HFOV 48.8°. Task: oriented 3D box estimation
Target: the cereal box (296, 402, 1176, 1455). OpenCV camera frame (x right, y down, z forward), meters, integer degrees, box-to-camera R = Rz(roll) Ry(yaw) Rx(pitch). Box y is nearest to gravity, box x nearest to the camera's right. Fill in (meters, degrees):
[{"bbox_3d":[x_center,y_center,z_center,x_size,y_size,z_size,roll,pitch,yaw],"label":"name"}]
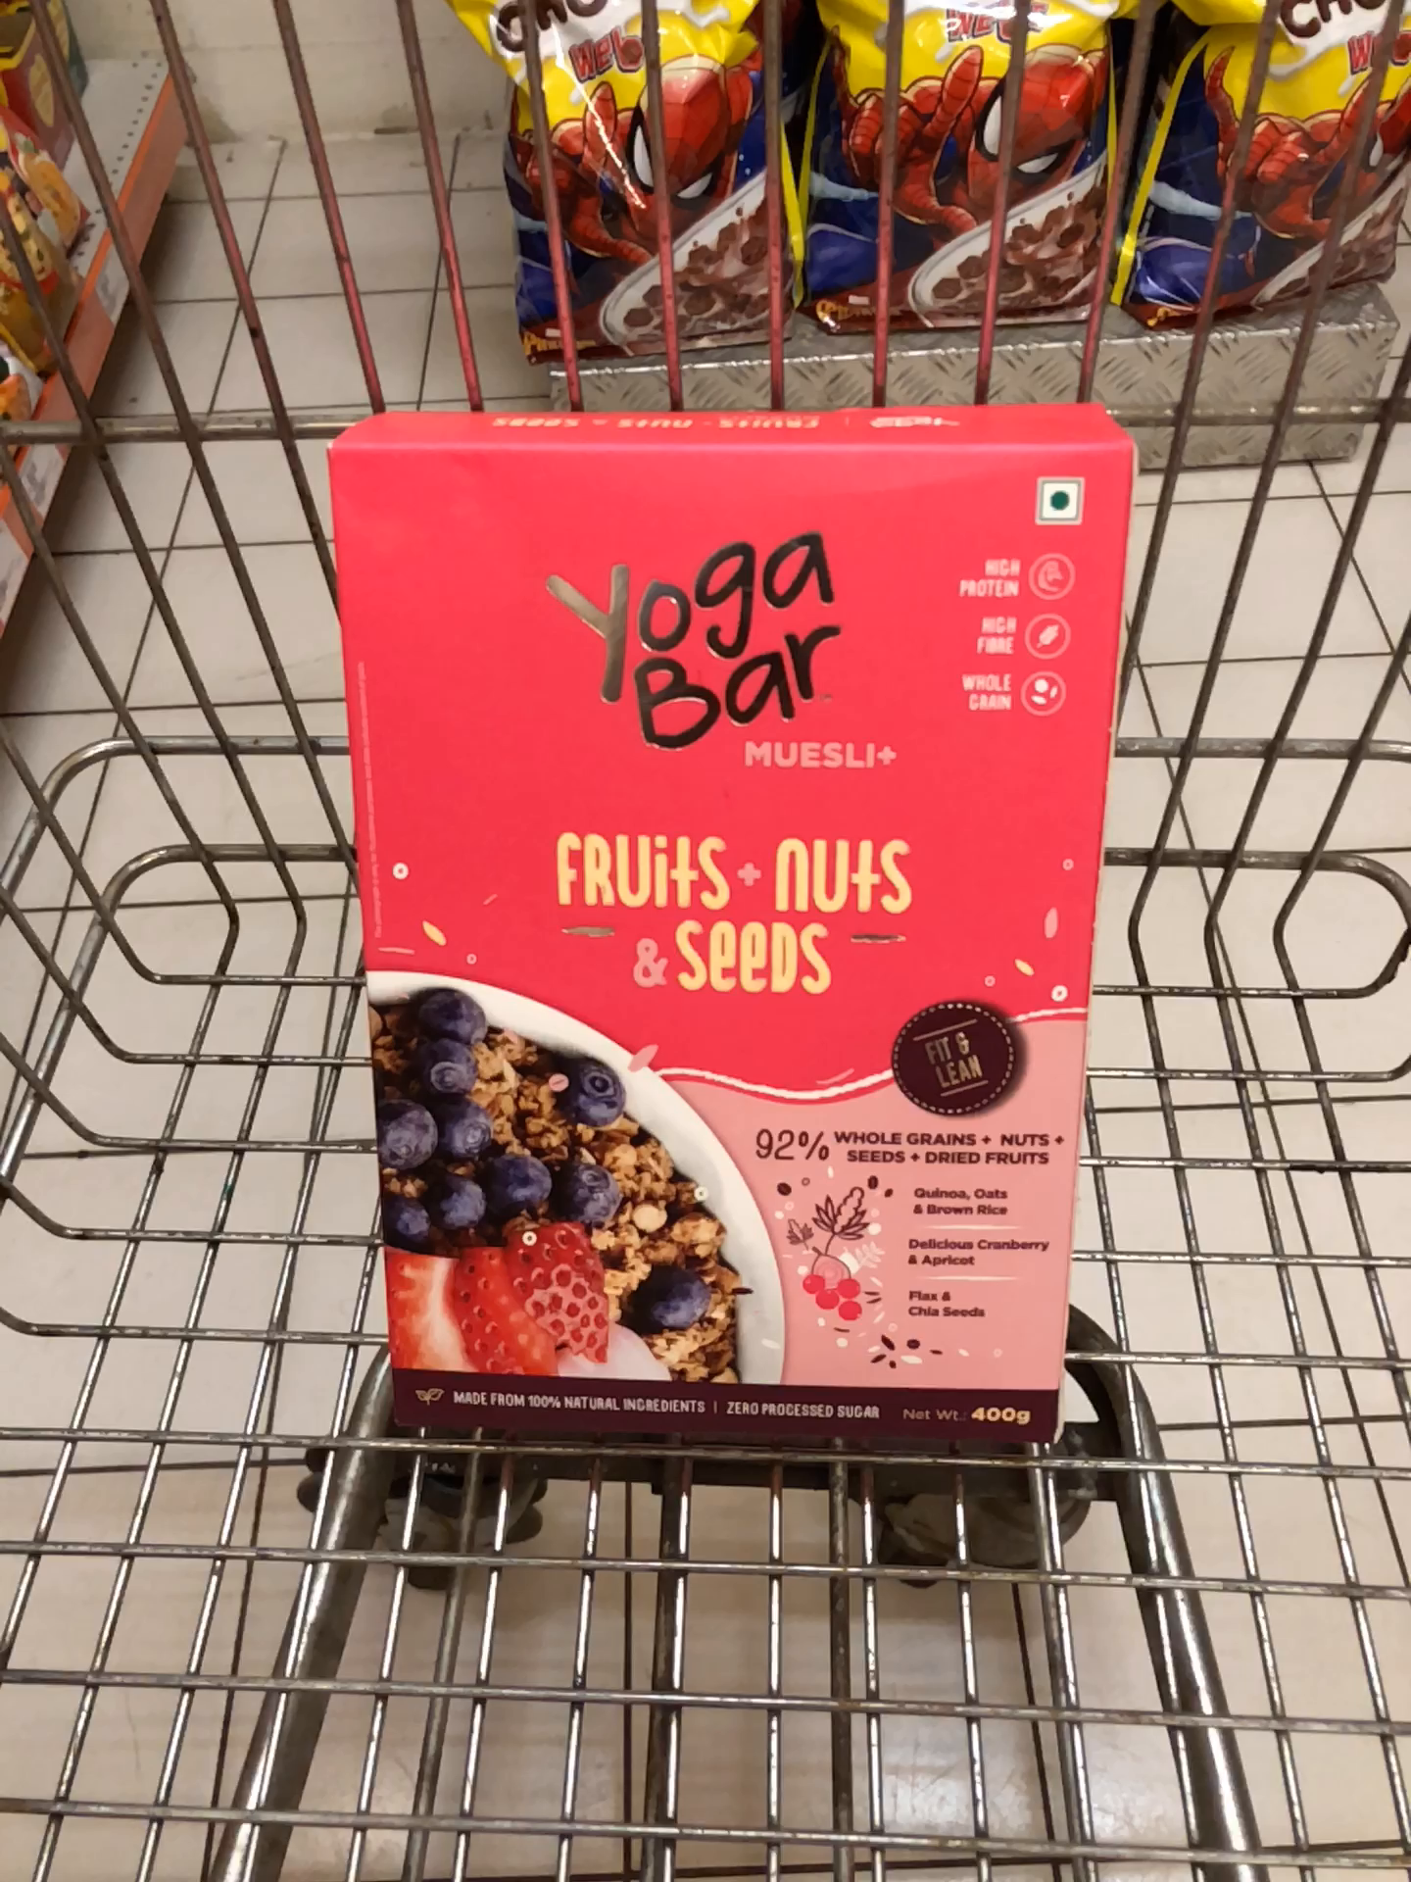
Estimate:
[{"bbox_3d":[0.007,0.000,0.369,0.170,0.239,0.060,1,20,4],"label":"cereal box"}]
